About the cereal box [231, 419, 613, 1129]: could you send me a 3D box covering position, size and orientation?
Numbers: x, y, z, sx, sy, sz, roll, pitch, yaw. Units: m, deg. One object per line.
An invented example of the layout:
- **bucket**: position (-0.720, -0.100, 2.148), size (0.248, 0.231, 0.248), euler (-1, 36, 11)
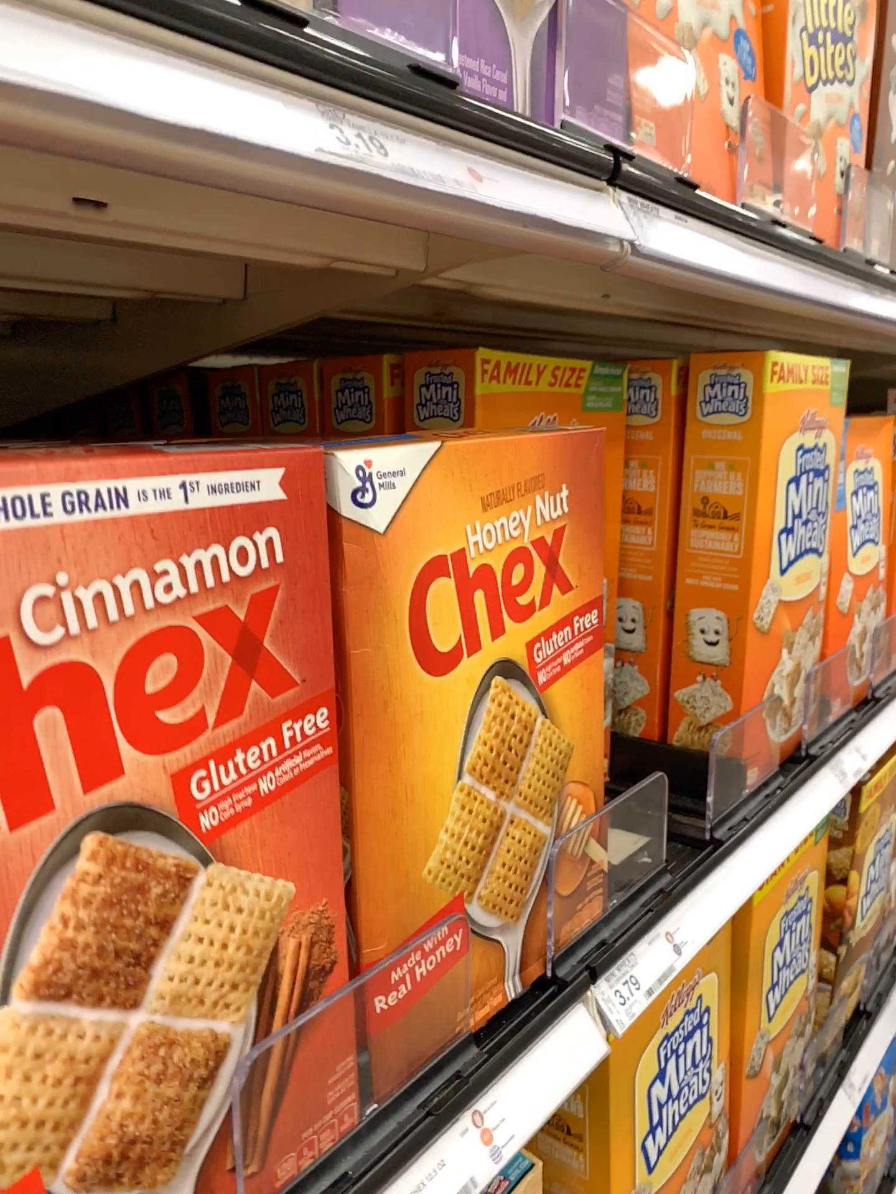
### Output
- **cereal box**: position (0.001, 0.059, 0.445), size (0.060, 0.279, 0.200), euler (9, 14, 36)
